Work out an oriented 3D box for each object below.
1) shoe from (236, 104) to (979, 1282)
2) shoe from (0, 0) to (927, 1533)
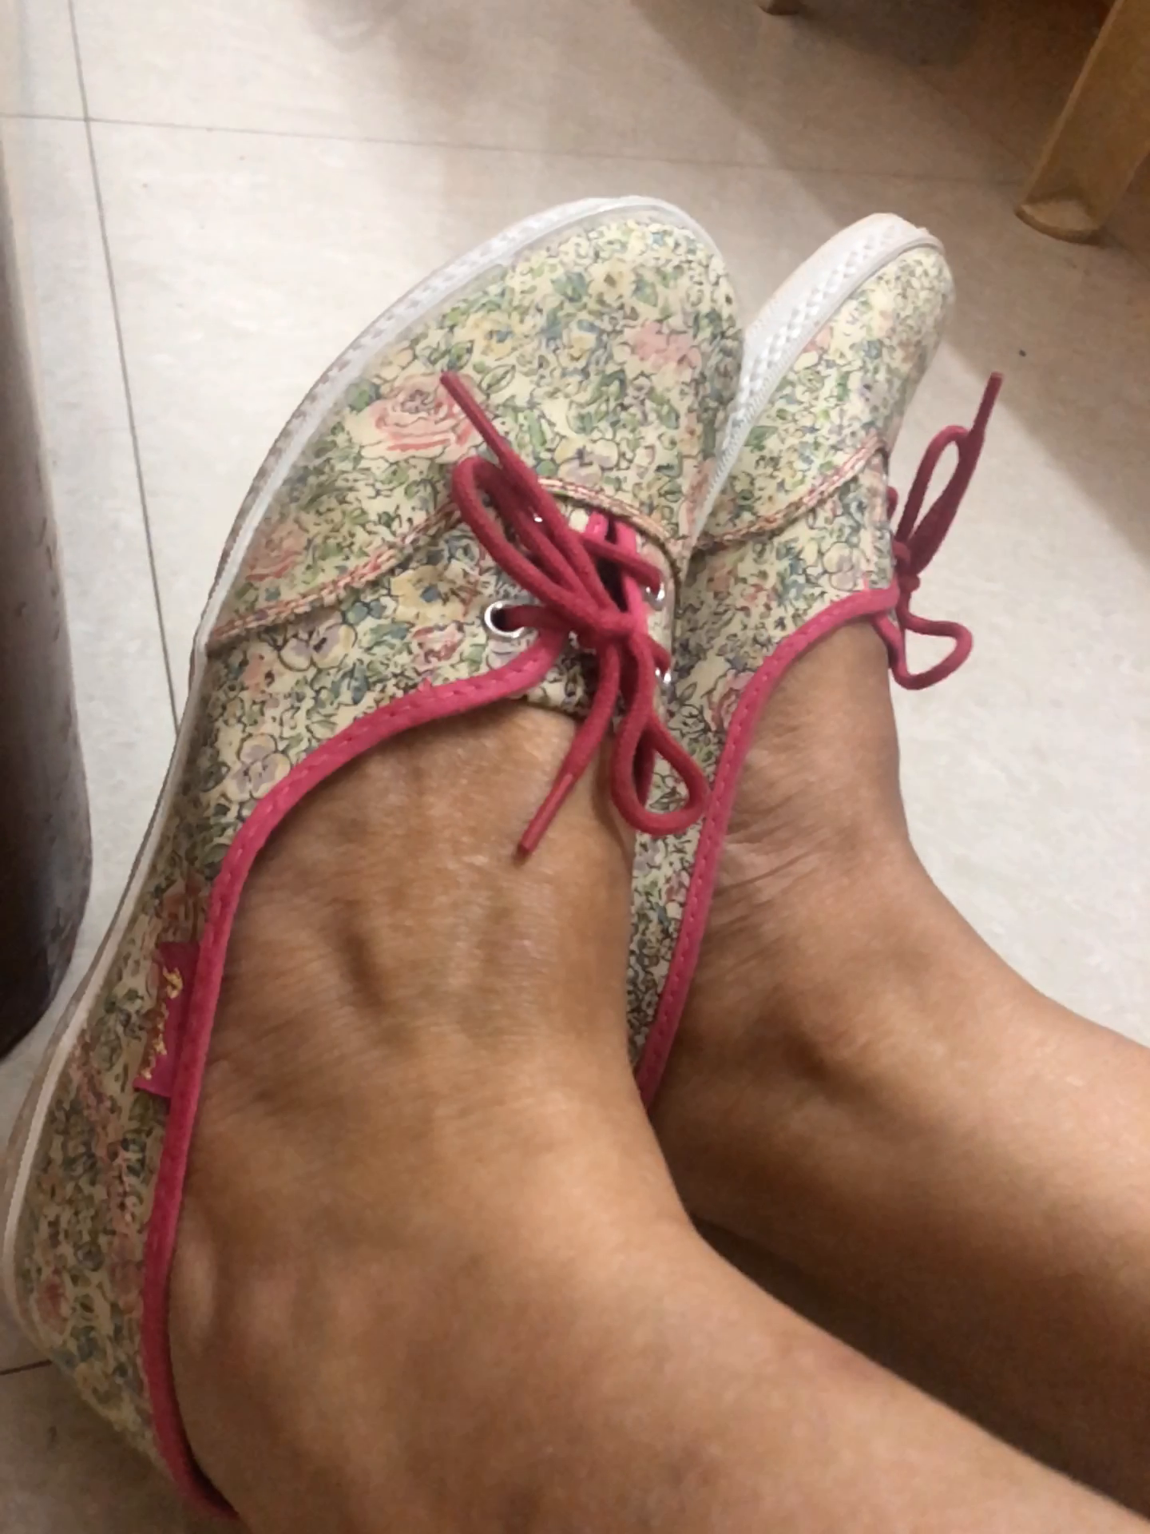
[{"bbox_3d":[0.021,-0.020,0.319,0.070,0.090,0.261,19,79,17],"label":"shoe"},{"bbox_3d":[-0.026,0.006,0.235,0.070,0.090,0.260,12,79,44],"label":"shoe"}]
